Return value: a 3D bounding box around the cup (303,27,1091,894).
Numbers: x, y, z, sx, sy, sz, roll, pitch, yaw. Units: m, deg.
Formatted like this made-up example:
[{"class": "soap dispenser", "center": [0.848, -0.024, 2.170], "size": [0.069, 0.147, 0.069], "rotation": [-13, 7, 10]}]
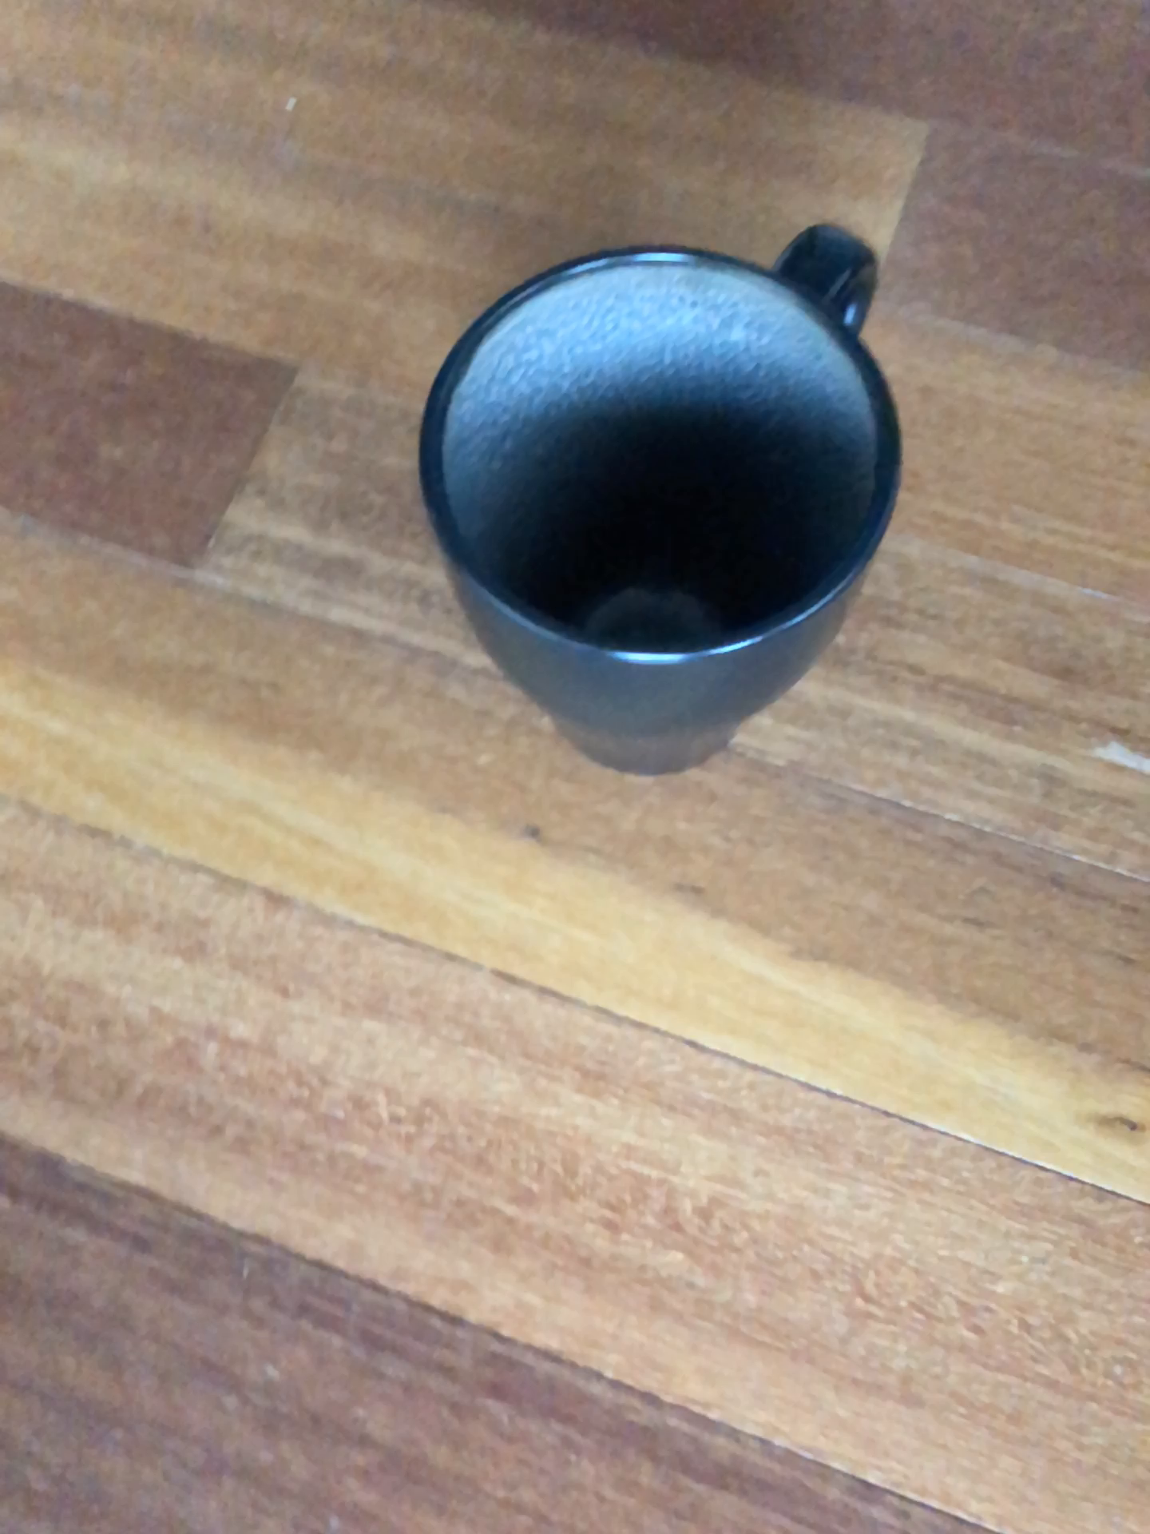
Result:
[{"class": "cup", "center": [0.027, -0.064, 0.288], "size": [0.090, 0.100, 0.137], "rotation": [33, 74, 13]}]
